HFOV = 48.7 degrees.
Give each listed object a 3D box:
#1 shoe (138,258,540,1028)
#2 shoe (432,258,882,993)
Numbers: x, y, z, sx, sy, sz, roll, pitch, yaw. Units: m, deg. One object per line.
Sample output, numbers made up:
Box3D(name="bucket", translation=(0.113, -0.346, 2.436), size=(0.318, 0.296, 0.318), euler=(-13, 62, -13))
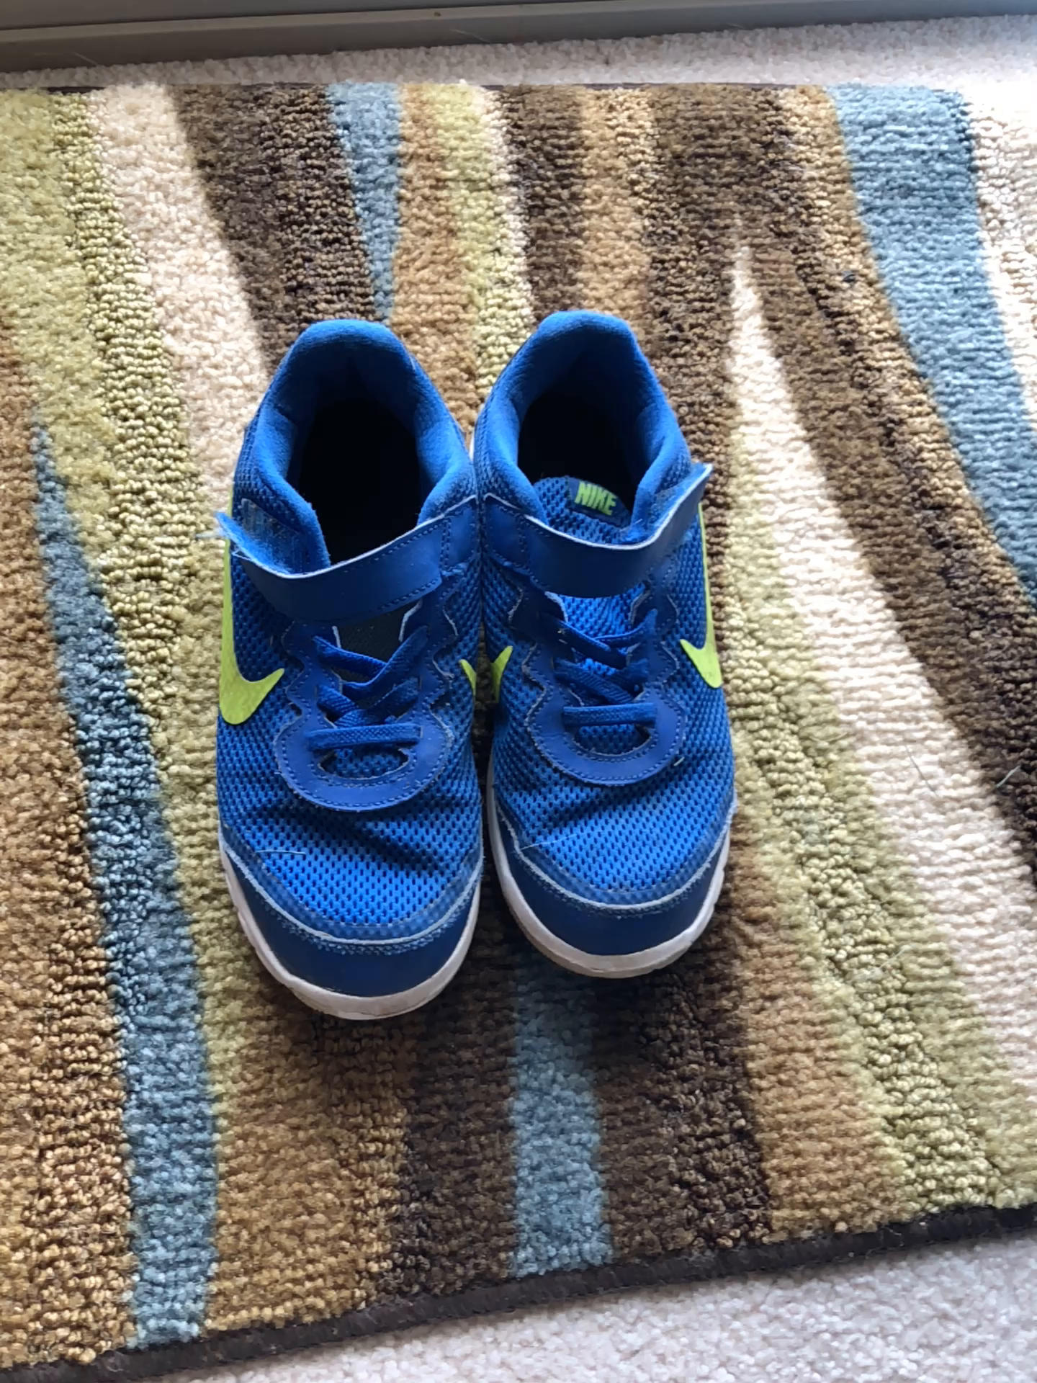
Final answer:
Box3D(name="shoe", translation=(-0.055, -0.017, 0.370), size=(0.102, 0.075, 0.233), euler=(0, 69, -8))
Box3D(name="shoe", translation=(0.034, -0.026, 0.384), size=(0.103, 0.075, 0.231), euler=(-3, 70, -9))
